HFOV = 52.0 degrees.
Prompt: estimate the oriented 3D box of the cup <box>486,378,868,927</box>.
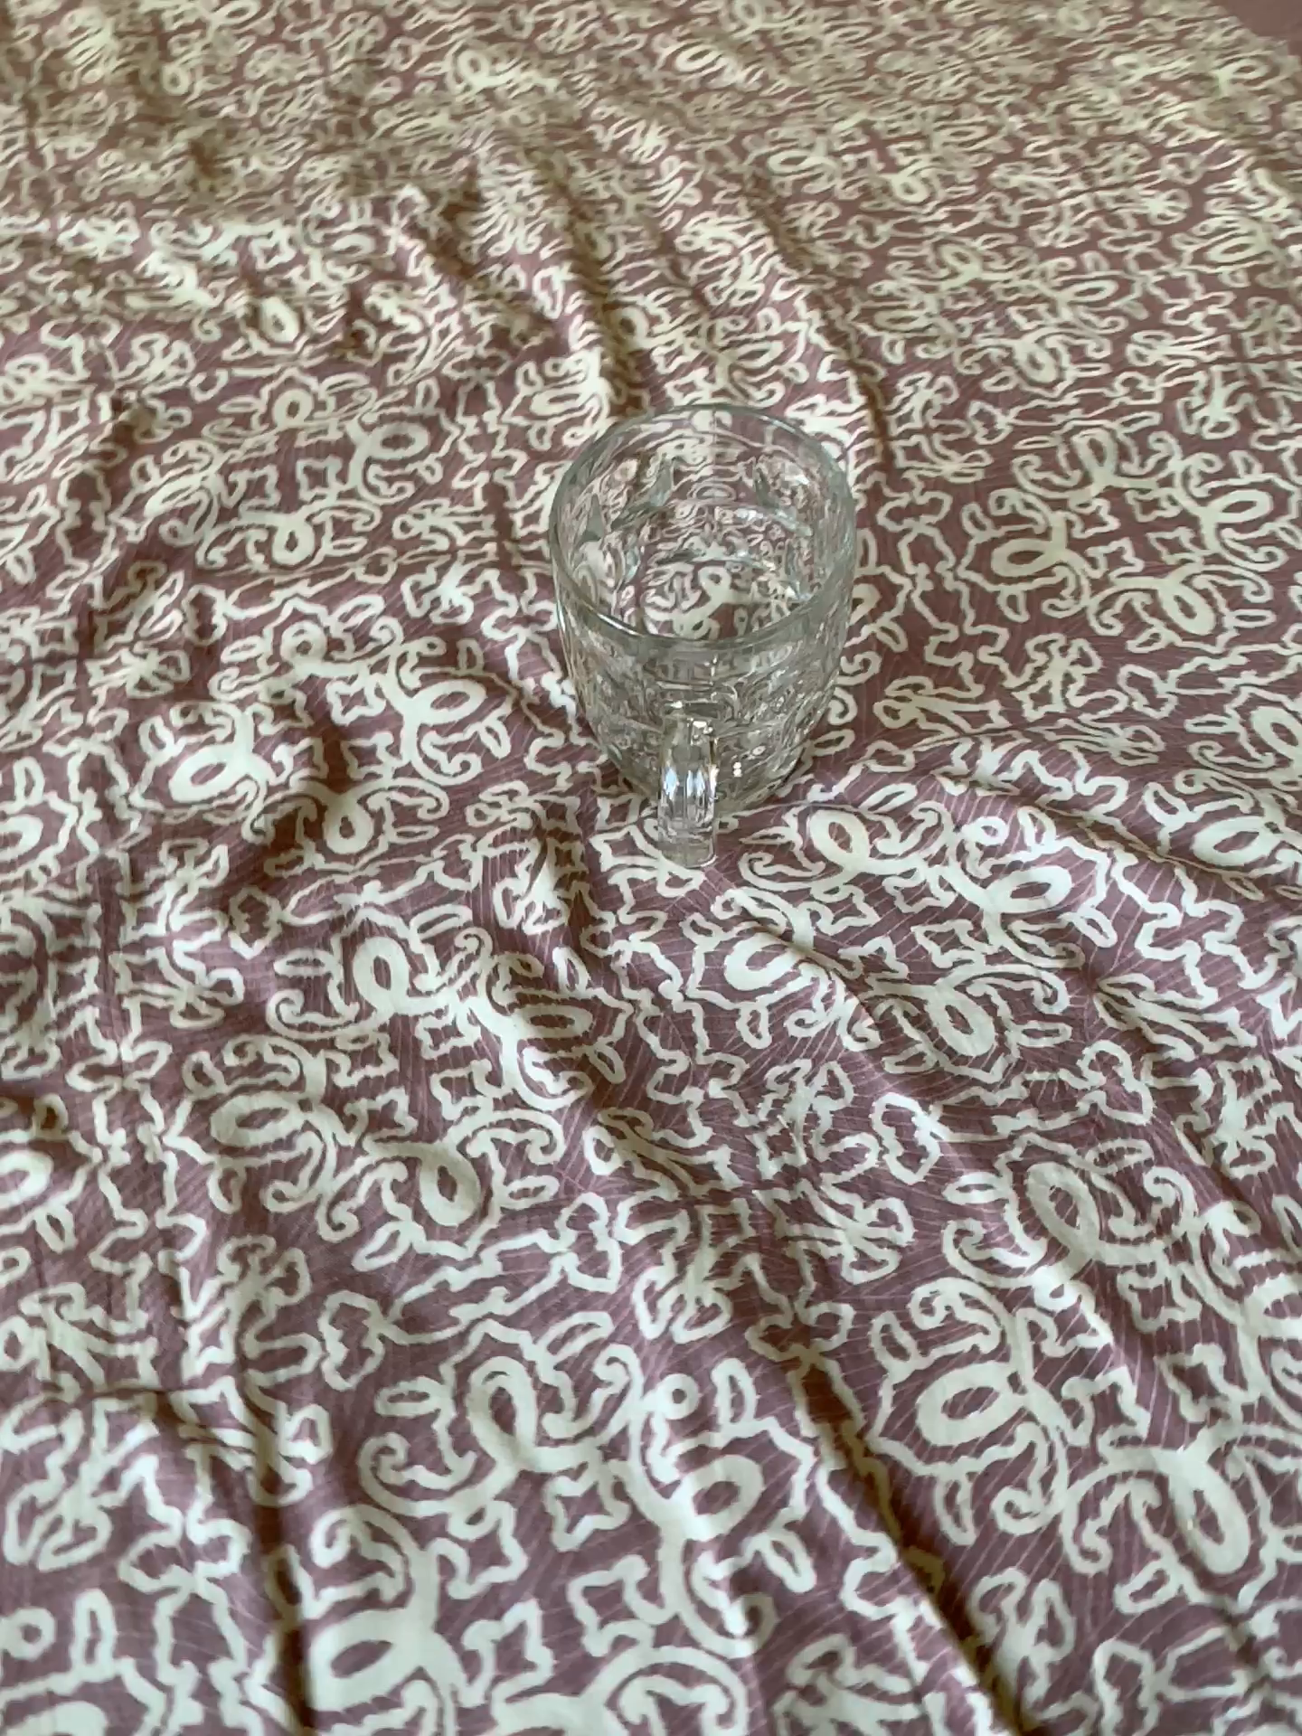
[{"bbox_3d":[0.016,-0.064,0.408,0.090,0.109,0.121,4,59,8],"label":"cup"}]
